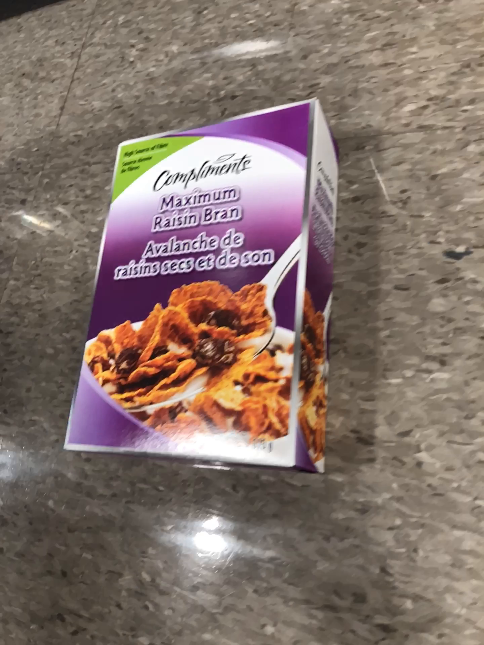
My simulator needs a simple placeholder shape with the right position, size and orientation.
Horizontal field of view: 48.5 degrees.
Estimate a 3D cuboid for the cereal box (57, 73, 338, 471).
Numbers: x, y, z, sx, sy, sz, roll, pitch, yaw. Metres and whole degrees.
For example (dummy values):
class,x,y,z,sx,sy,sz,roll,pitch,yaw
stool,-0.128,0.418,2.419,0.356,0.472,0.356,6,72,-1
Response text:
class,x,y,z,sx,sy,sz,roll,pitch,yaw
cereal box,-0.029,-0.041,0.463,0.201,0.070,0.310,-4,69,26
